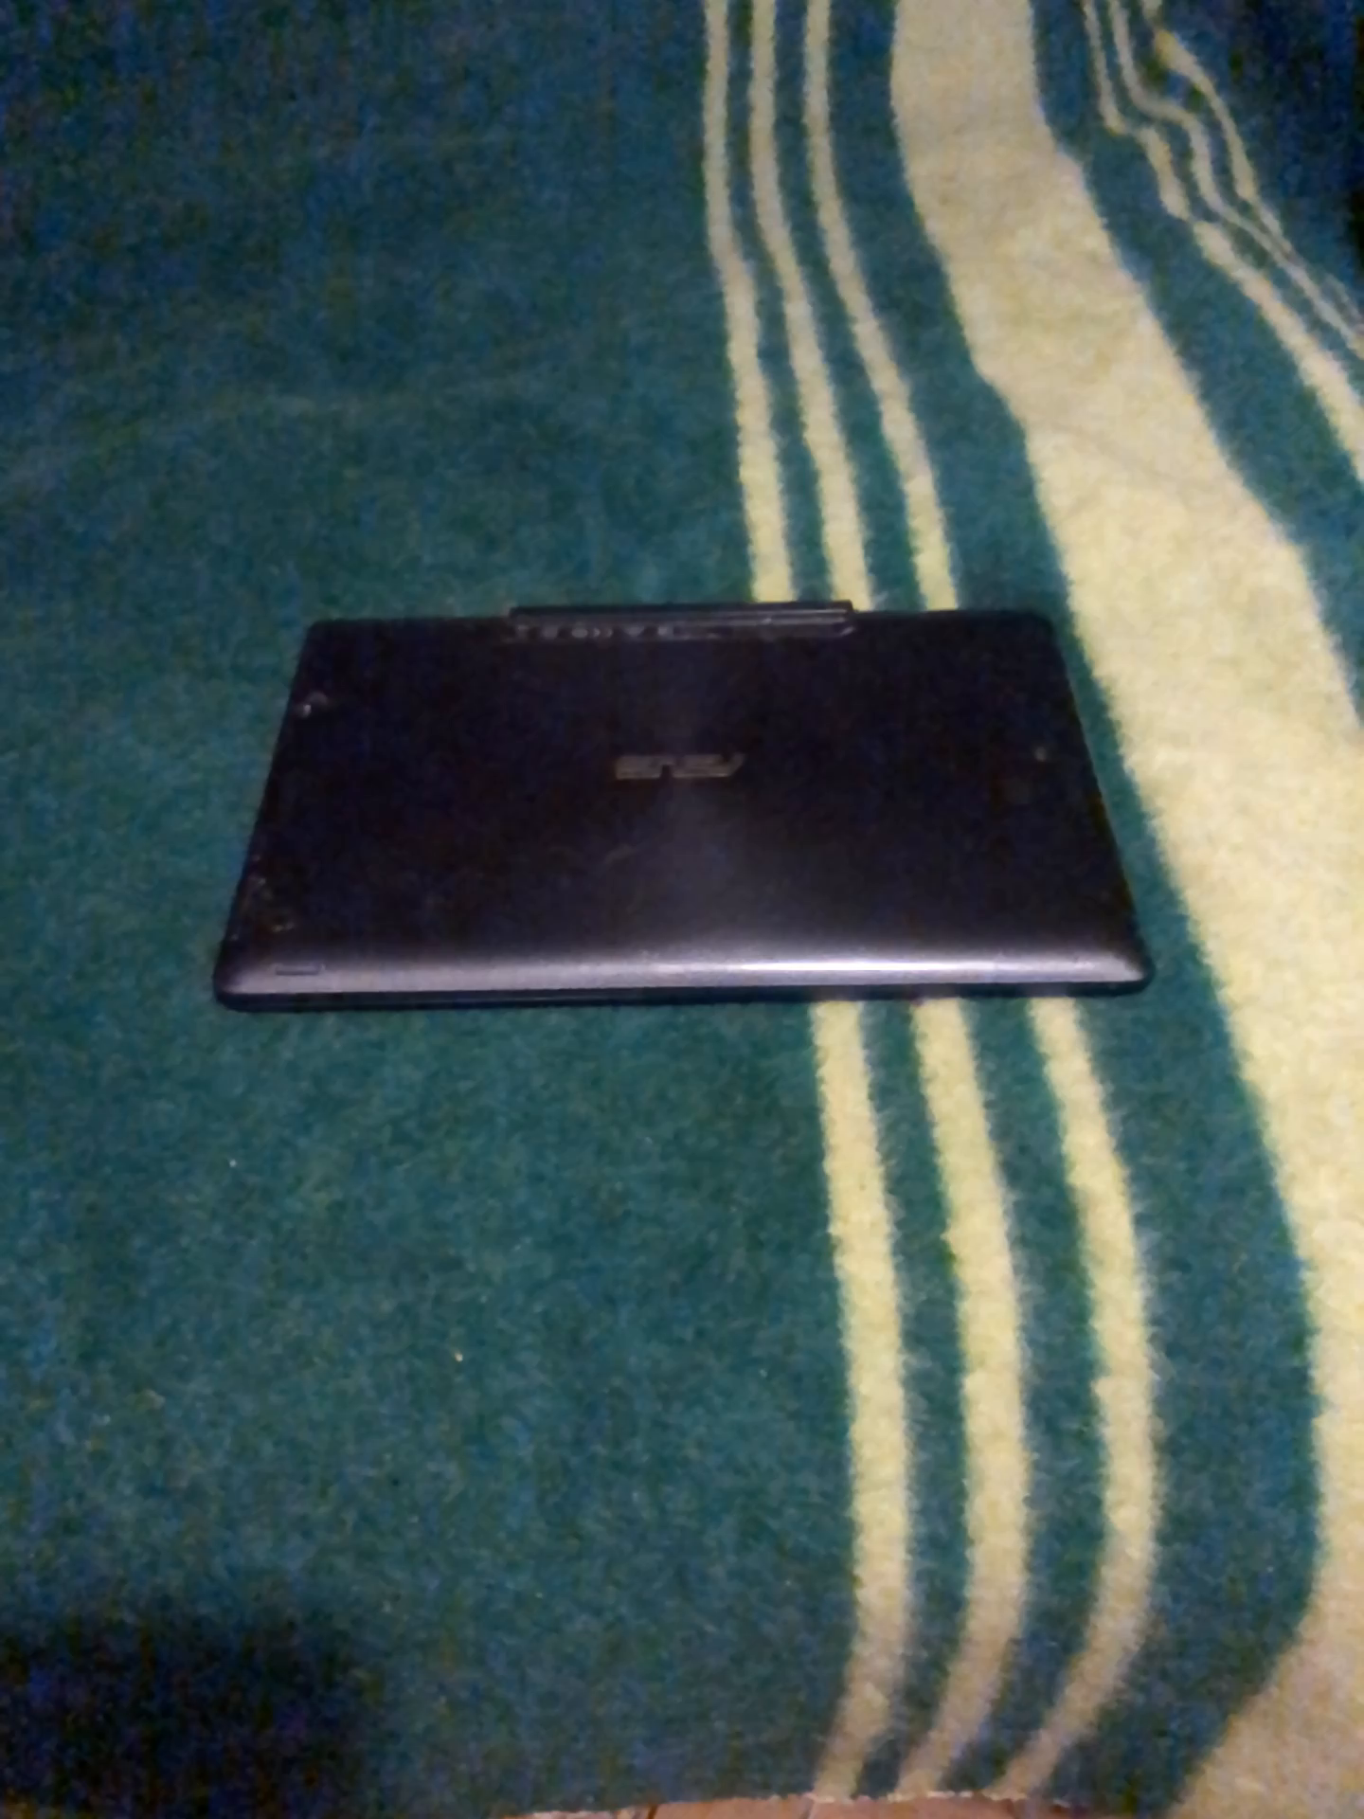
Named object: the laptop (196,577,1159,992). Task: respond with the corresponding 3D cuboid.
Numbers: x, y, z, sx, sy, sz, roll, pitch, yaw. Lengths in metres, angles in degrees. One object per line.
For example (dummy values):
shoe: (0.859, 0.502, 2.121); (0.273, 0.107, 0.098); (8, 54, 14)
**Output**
laptop: (-0.001, -0.046, 0.471); (0.262, 0.017, 0.168); (-1, 47, 0)
